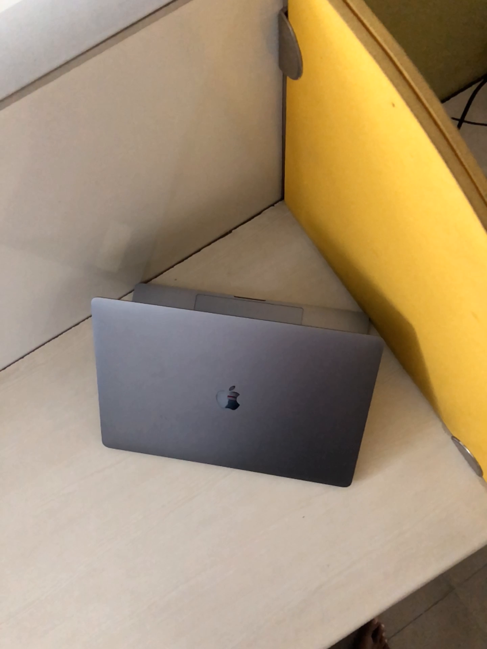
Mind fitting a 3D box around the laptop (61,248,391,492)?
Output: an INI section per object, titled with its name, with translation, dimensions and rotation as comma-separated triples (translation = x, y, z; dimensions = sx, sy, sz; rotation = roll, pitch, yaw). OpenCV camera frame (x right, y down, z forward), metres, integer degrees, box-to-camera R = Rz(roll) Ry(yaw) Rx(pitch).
[laptop]
translation = -0.014, 0.060, 0.684
dimensions = 0.344, 0.152, 0.235
rotation = 8, 80, 5
